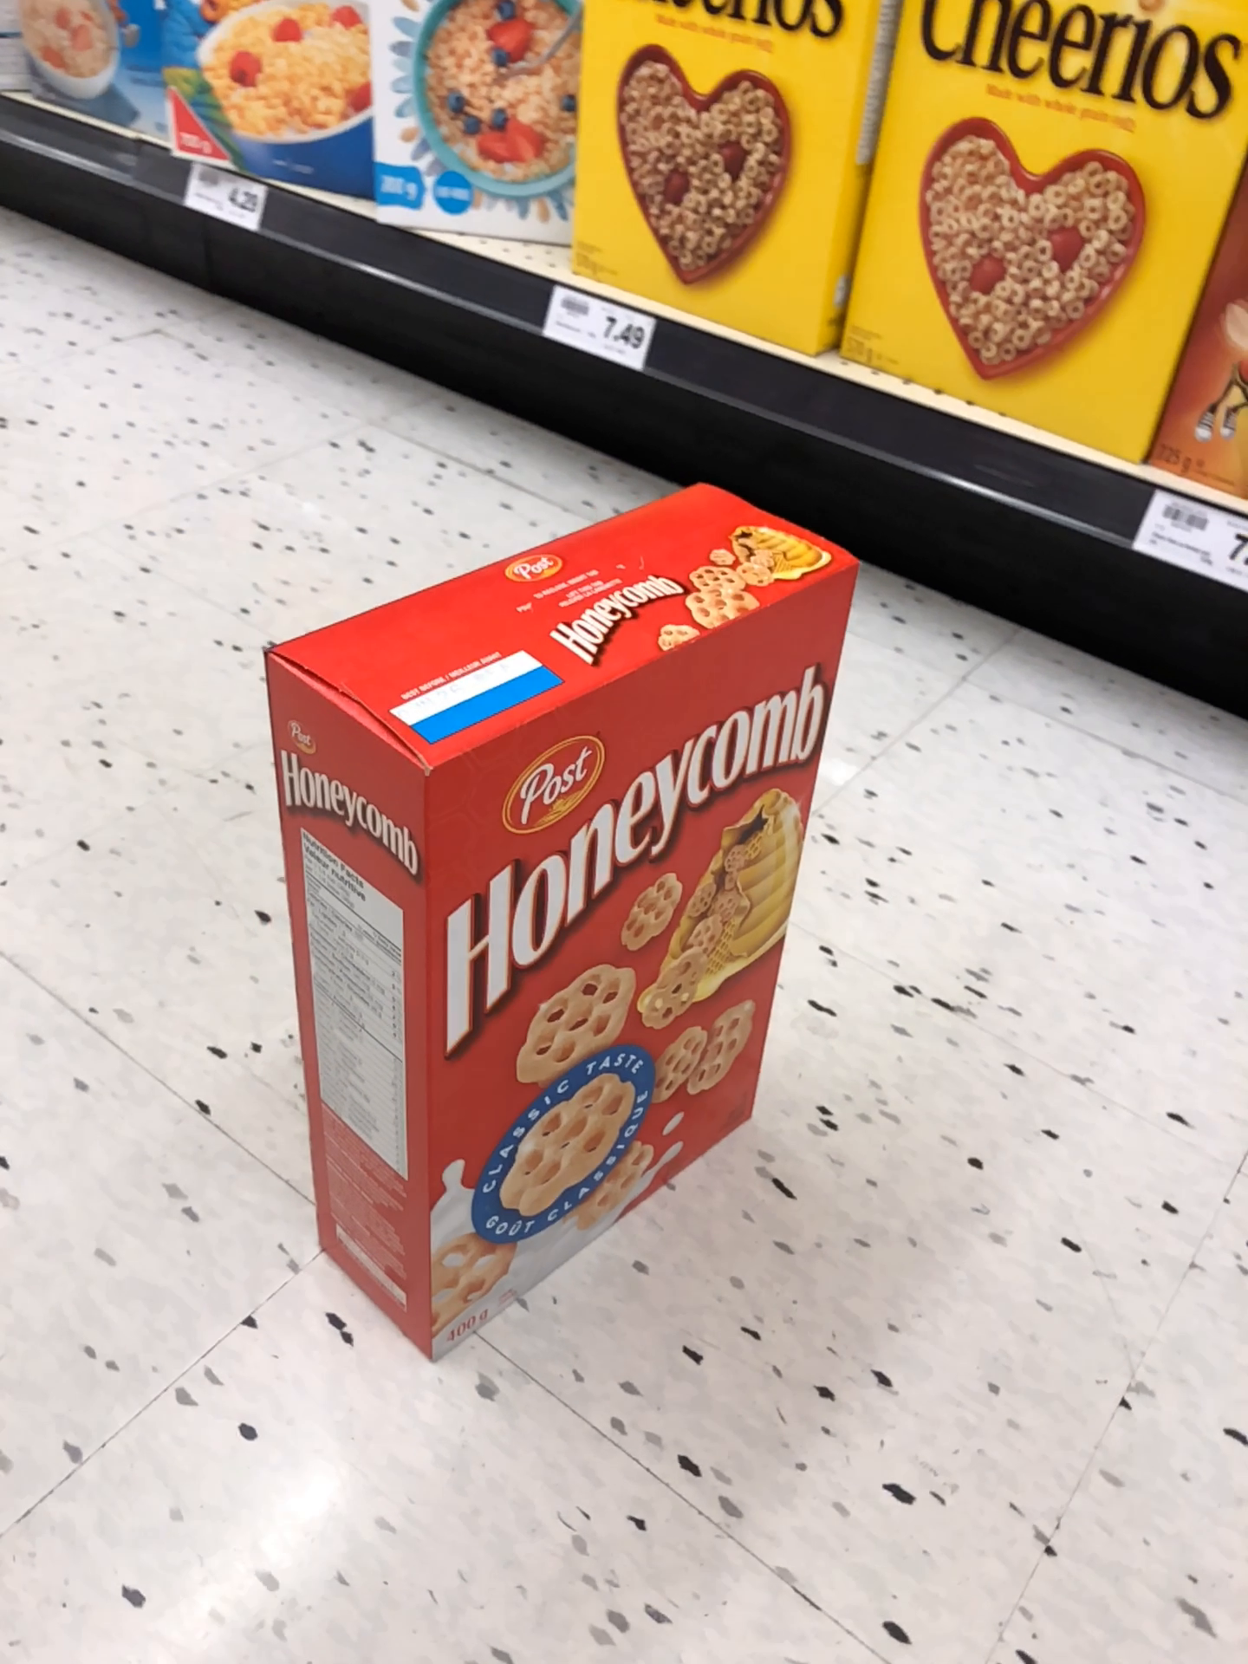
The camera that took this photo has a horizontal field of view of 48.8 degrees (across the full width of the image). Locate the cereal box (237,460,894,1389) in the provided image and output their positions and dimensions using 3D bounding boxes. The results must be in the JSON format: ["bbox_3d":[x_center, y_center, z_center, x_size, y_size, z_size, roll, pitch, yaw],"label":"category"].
[{"bbox_3d":[-0.021,0.040,0.515,0.201,0.298,0.080,-29,50,-35],"label":"cereal box"}]
